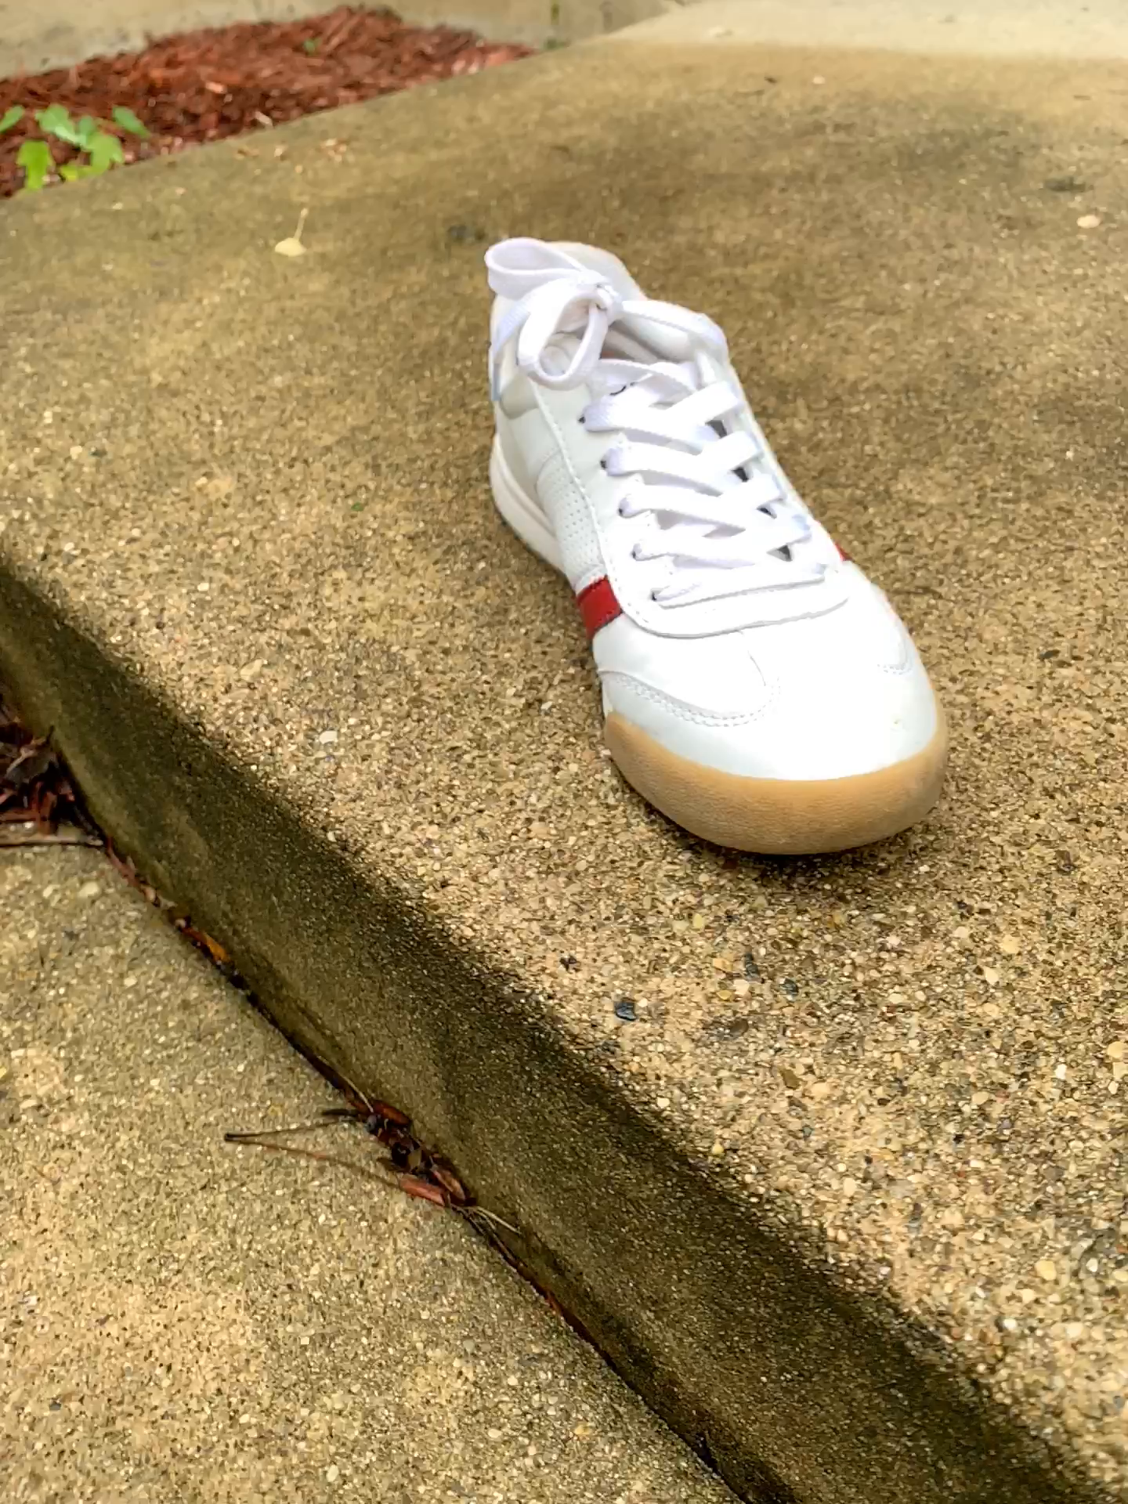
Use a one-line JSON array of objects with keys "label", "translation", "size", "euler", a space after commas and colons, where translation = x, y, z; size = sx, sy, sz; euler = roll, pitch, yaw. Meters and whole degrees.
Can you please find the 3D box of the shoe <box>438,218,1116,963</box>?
[{"label": "shoe", "translation": [0.039, -0.076, 0.373], "size": [0.098, 0.092, 0.271], "euler": [-13, 42, -9]}]
